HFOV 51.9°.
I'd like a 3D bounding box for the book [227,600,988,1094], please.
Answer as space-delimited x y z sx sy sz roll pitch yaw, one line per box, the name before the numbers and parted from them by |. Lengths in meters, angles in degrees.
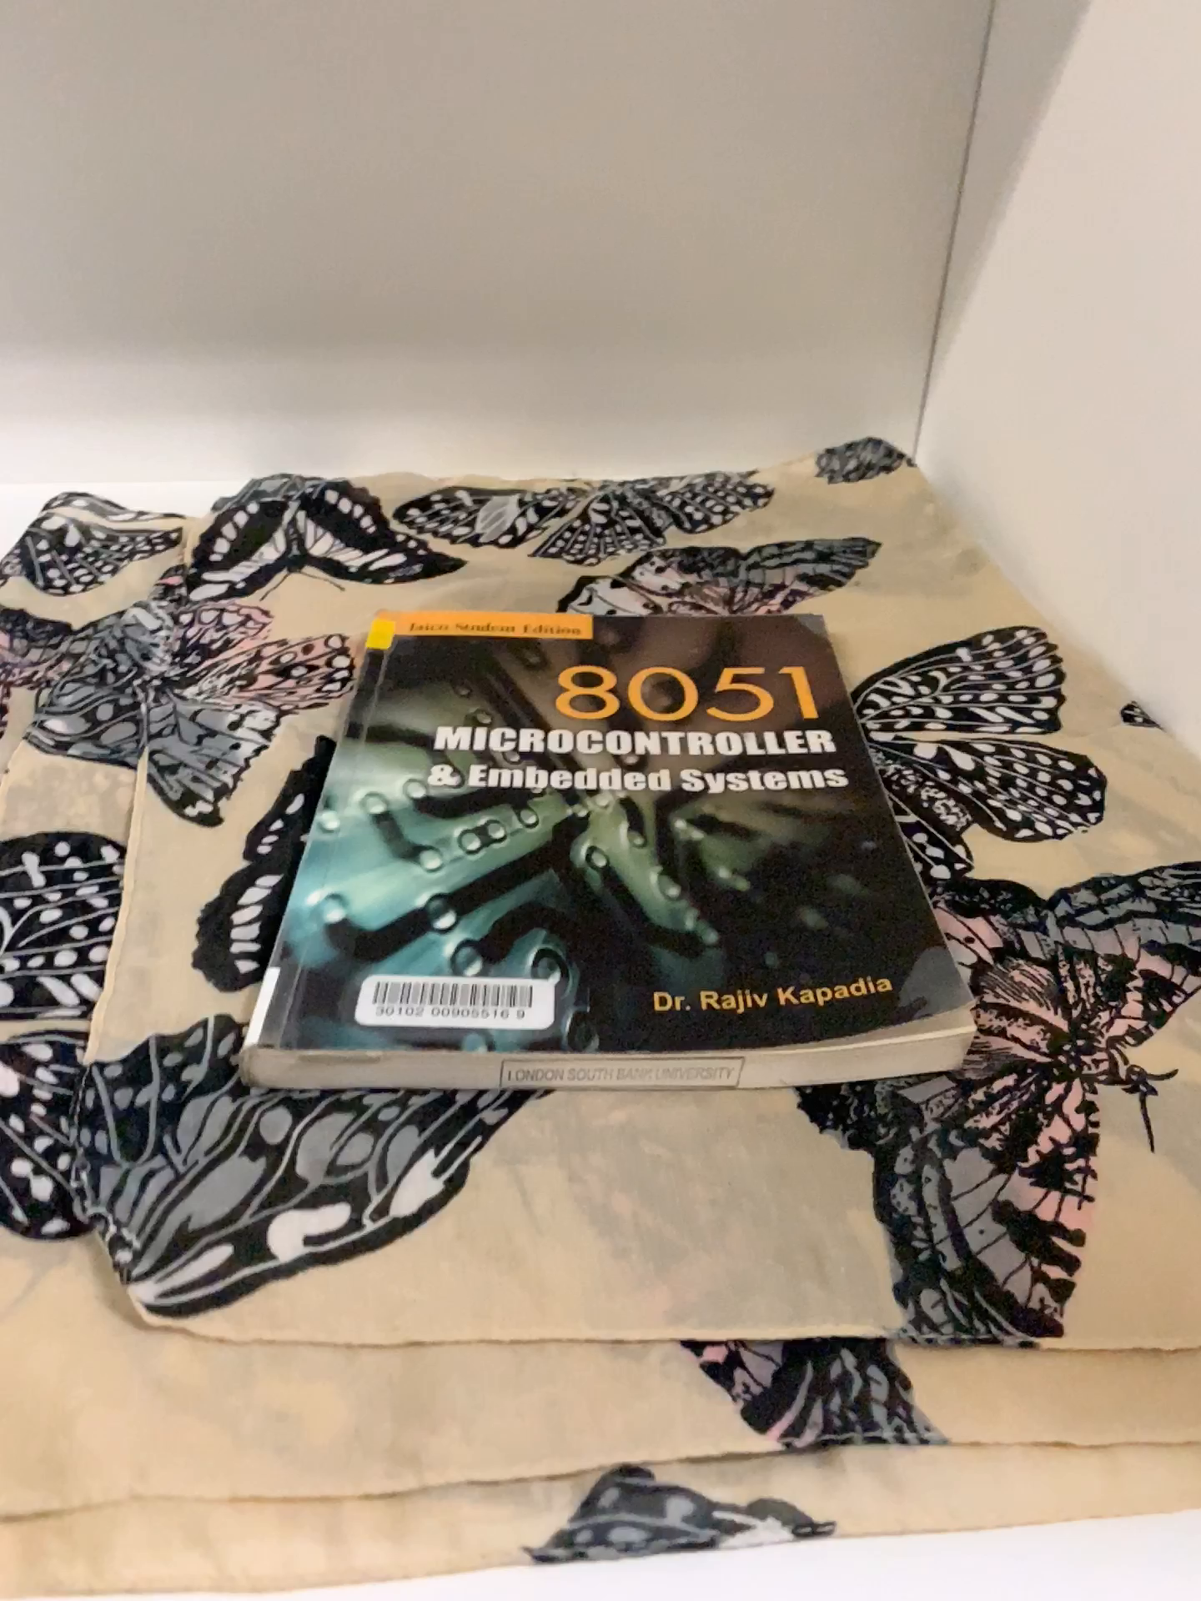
book | 0.001 -0.003 0.401 0.183 0.020 0.237 1 35 -2
